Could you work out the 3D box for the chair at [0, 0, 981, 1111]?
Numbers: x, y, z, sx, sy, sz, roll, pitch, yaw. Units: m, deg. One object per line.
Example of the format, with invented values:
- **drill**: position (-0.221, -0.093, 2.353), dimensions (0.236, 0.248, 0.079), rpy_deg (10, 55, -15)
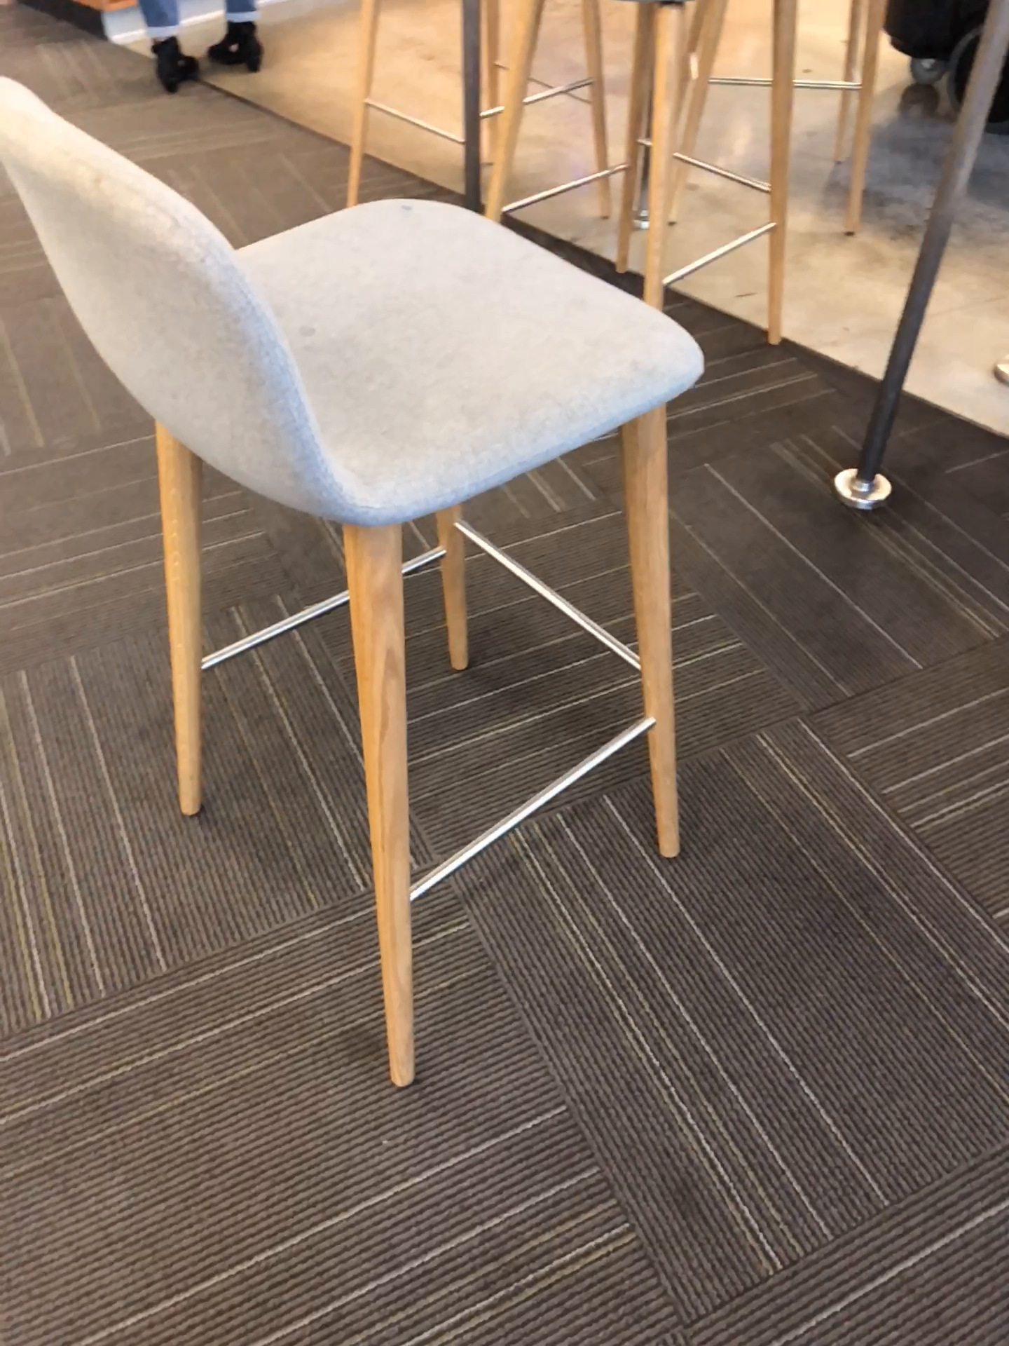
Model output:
- **chair**: position (-0.065, -0.158, 1.137), dimensions (0.561, 0.946, 0.572), rpy_deg (-30, 51, -28)
